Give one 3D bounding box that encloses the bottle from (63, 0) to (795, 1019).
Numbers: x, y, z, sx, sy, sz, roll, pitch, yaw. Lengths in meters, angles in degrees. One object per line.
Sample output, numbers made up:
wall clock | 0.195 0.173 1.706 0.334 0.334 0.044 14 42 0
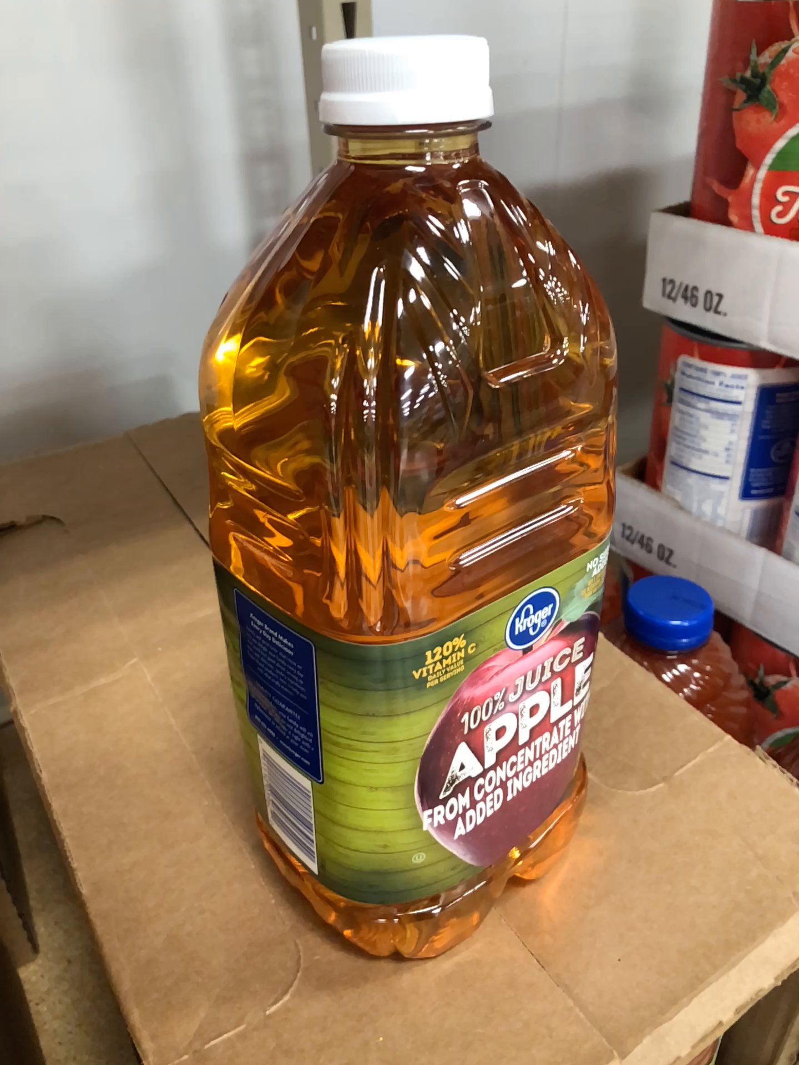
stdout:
bottle | 0.009 -0.006 0.260 0.120 0.259 0.100 -25 39 -32
